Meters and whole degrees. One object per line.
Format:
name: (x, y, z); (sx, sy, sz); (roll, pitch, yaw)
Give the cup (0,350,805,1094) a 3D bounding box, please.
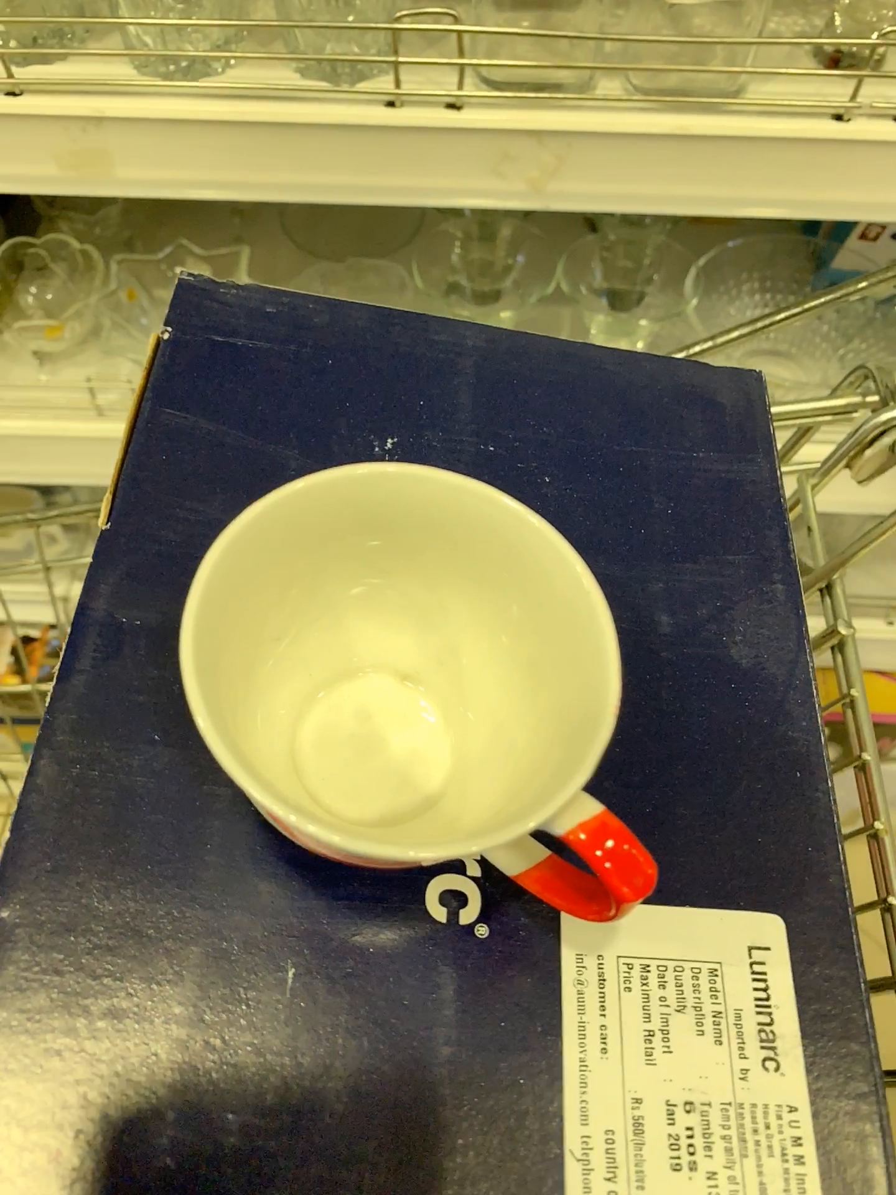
cup: (-0.008, 0.020, 0.158); (0.100, 0.050, 0.070); (31, 63, 9)
